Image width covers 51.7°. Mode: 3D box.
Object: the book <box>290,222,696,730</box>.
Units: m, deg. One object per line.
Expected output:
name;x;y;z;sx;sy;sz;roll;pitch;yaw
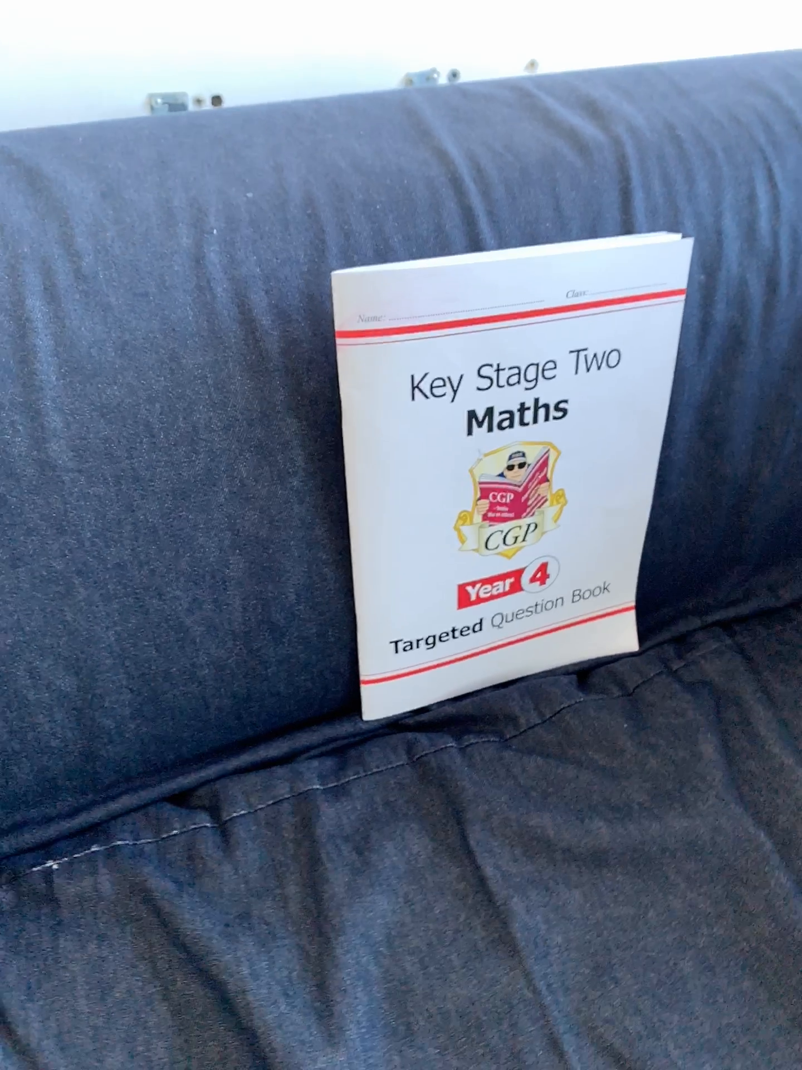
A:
book;0.064;-0.031;0.491;0.220;0.266;0.030;-13;25;-14
